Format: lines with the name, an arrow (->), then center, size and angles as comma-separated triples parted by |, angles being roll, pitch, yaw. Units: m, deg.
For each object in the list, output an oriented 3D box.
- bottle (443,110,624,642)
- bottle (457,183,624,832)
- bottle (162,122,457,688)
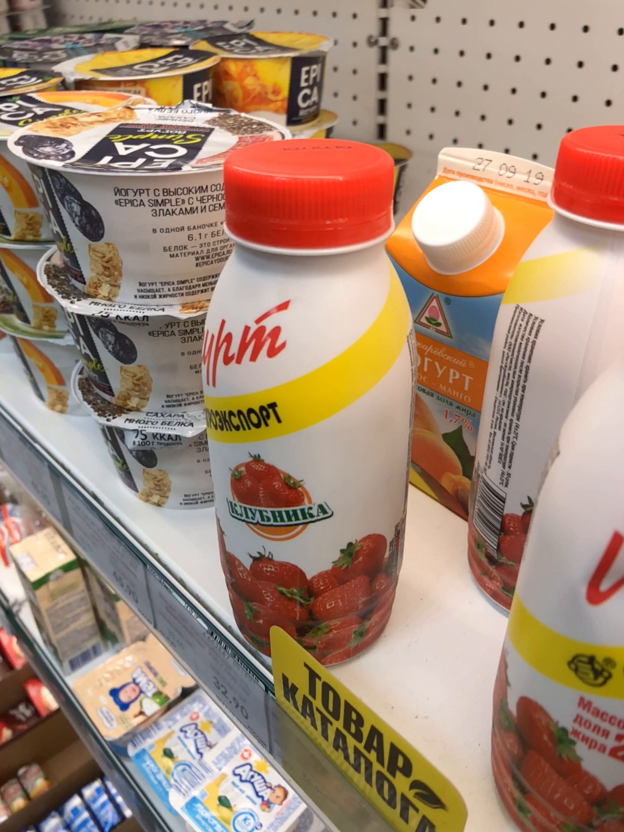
bottle -> 0.075, -0.005, 0.205 | 0.052, 0.146, 0.055 | -1, 34, 1
bottle -> 0.072, 0.037, 0.143 | 0.058, 0.146, 0.057 | -1, 34, 1
bottle -> -0.002, 0.002, 0.198 | 0.056, 0.146, 0.058 | -1, 34, 1
